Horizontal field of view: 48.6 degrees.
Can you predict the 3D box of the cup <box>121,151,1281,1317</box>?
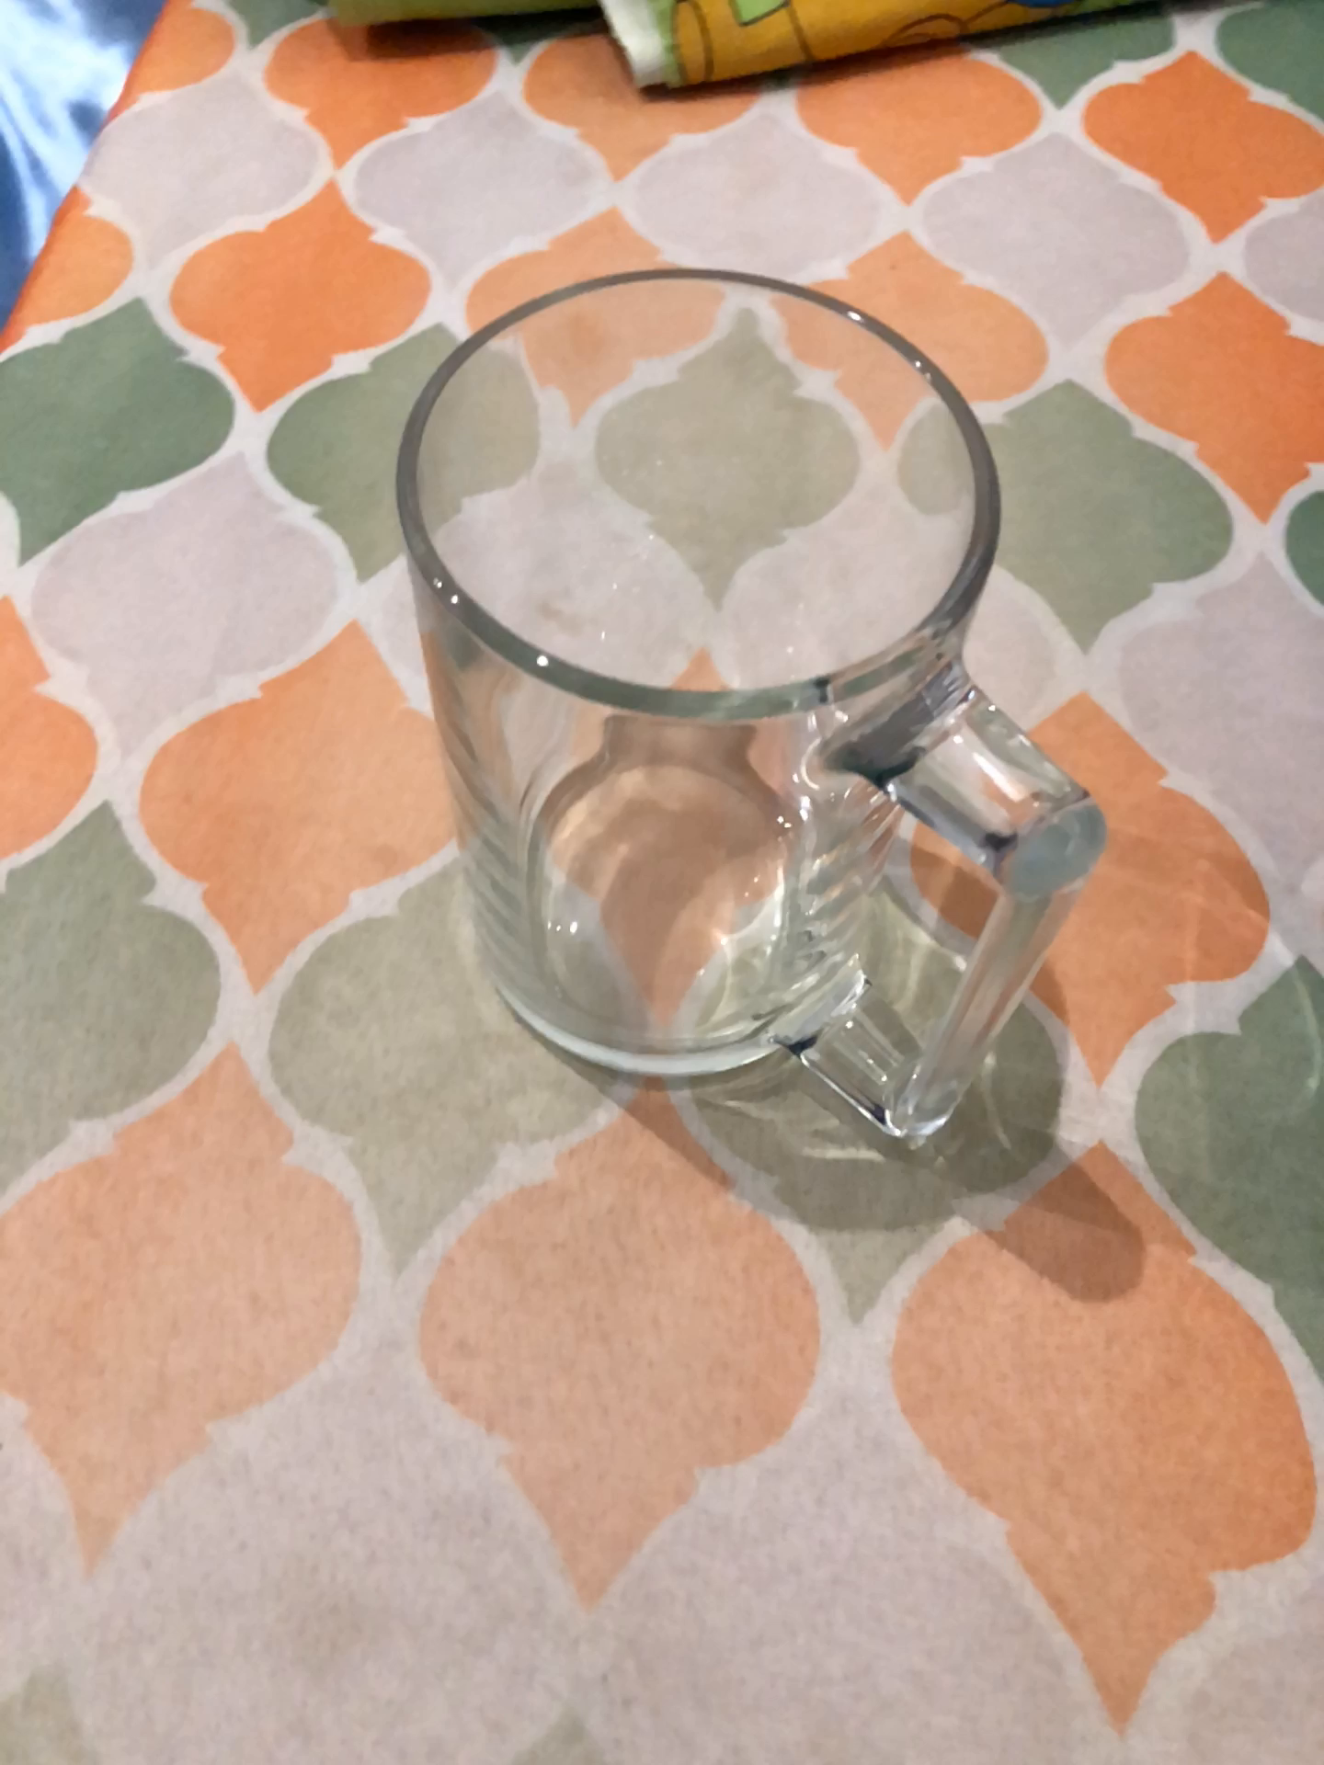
[{"bbox_3d":[0.002,-0.019,0.212,0.080,0.099,0.110,-39,66,-21],"label":"cup"}]
